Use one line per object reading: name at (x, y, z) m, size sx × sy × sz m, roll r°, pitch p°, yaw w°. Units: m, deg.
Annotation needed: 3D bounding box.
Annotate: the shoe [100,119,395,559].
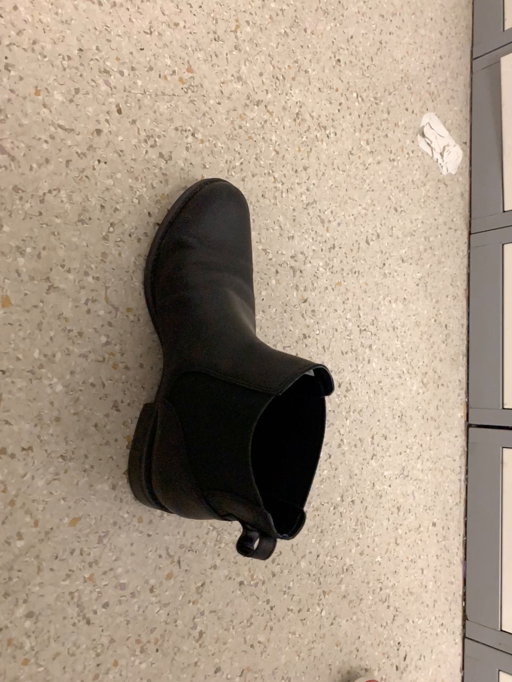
shoe at (-0.006, 0.004, 0.398) m, size 0.107 × 0.163 × 0.262 m, roll 18°, pitch 76°, yaw -41°
